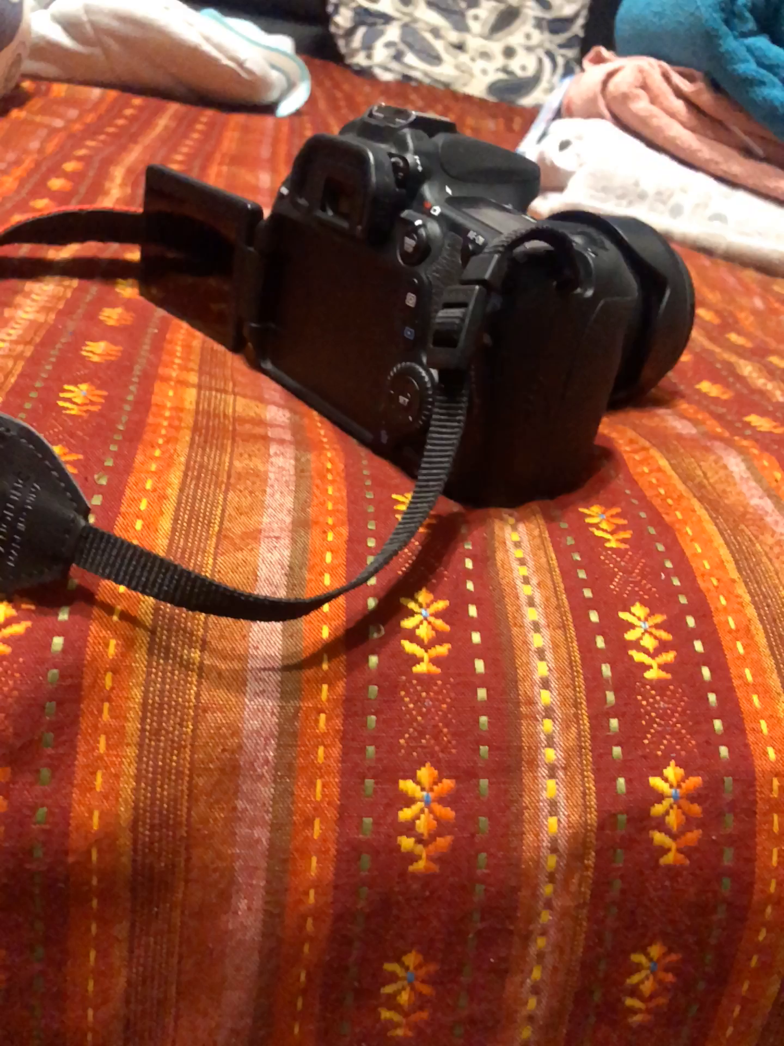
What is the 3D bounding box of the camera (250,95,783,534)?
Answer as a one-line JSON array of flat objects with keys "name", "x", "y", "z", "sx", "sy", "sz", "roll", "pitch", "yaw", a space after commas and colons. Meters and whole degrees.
[{"name": "camera", "x": 0.058, "y": -0.091, "z": 0.338, "sx": 0.171, "sy": 0.099, "sz": 0.130, "roll": -18, "pitch": 42, "yaw": -40}]
